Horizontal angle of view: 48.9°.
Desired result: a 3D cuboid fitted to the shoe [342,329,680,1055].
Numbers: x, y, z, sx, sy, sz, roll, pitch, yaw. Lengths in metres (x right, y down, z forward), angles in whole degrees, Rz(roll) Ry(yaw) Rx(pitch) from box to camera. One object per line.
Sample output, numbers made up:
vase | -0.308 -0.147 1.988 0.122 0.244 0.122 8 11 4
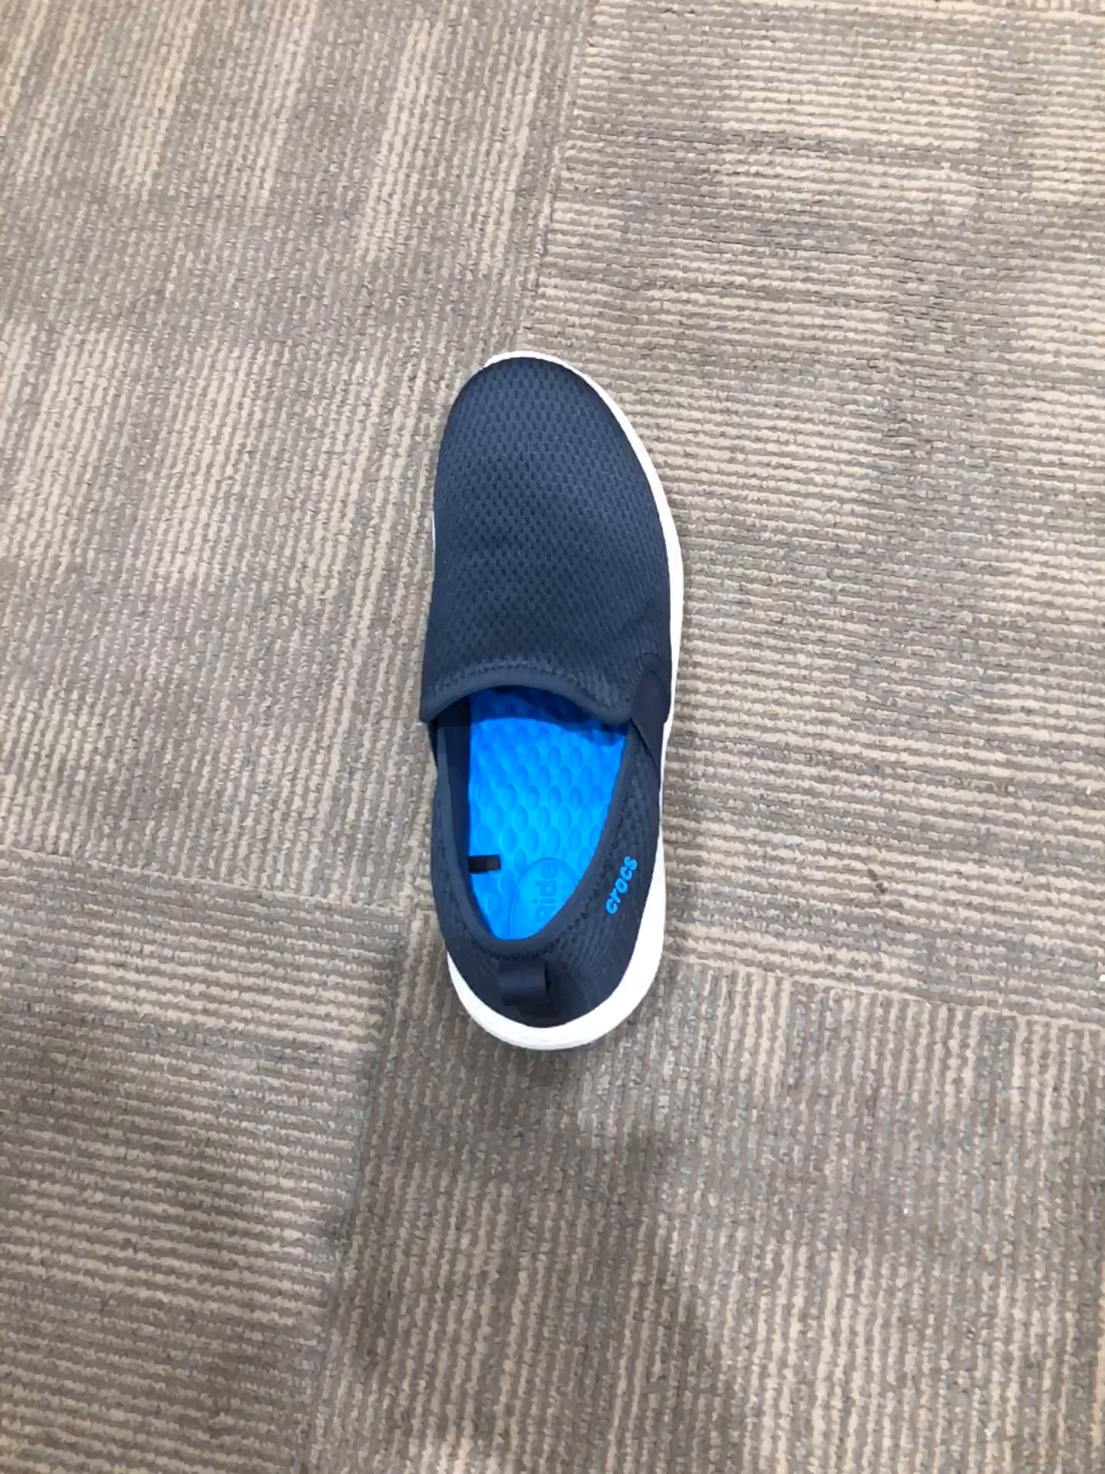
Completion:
shoe | -0.006 -0.012 0.496 0.110 0.120 0.270 1 75 5
